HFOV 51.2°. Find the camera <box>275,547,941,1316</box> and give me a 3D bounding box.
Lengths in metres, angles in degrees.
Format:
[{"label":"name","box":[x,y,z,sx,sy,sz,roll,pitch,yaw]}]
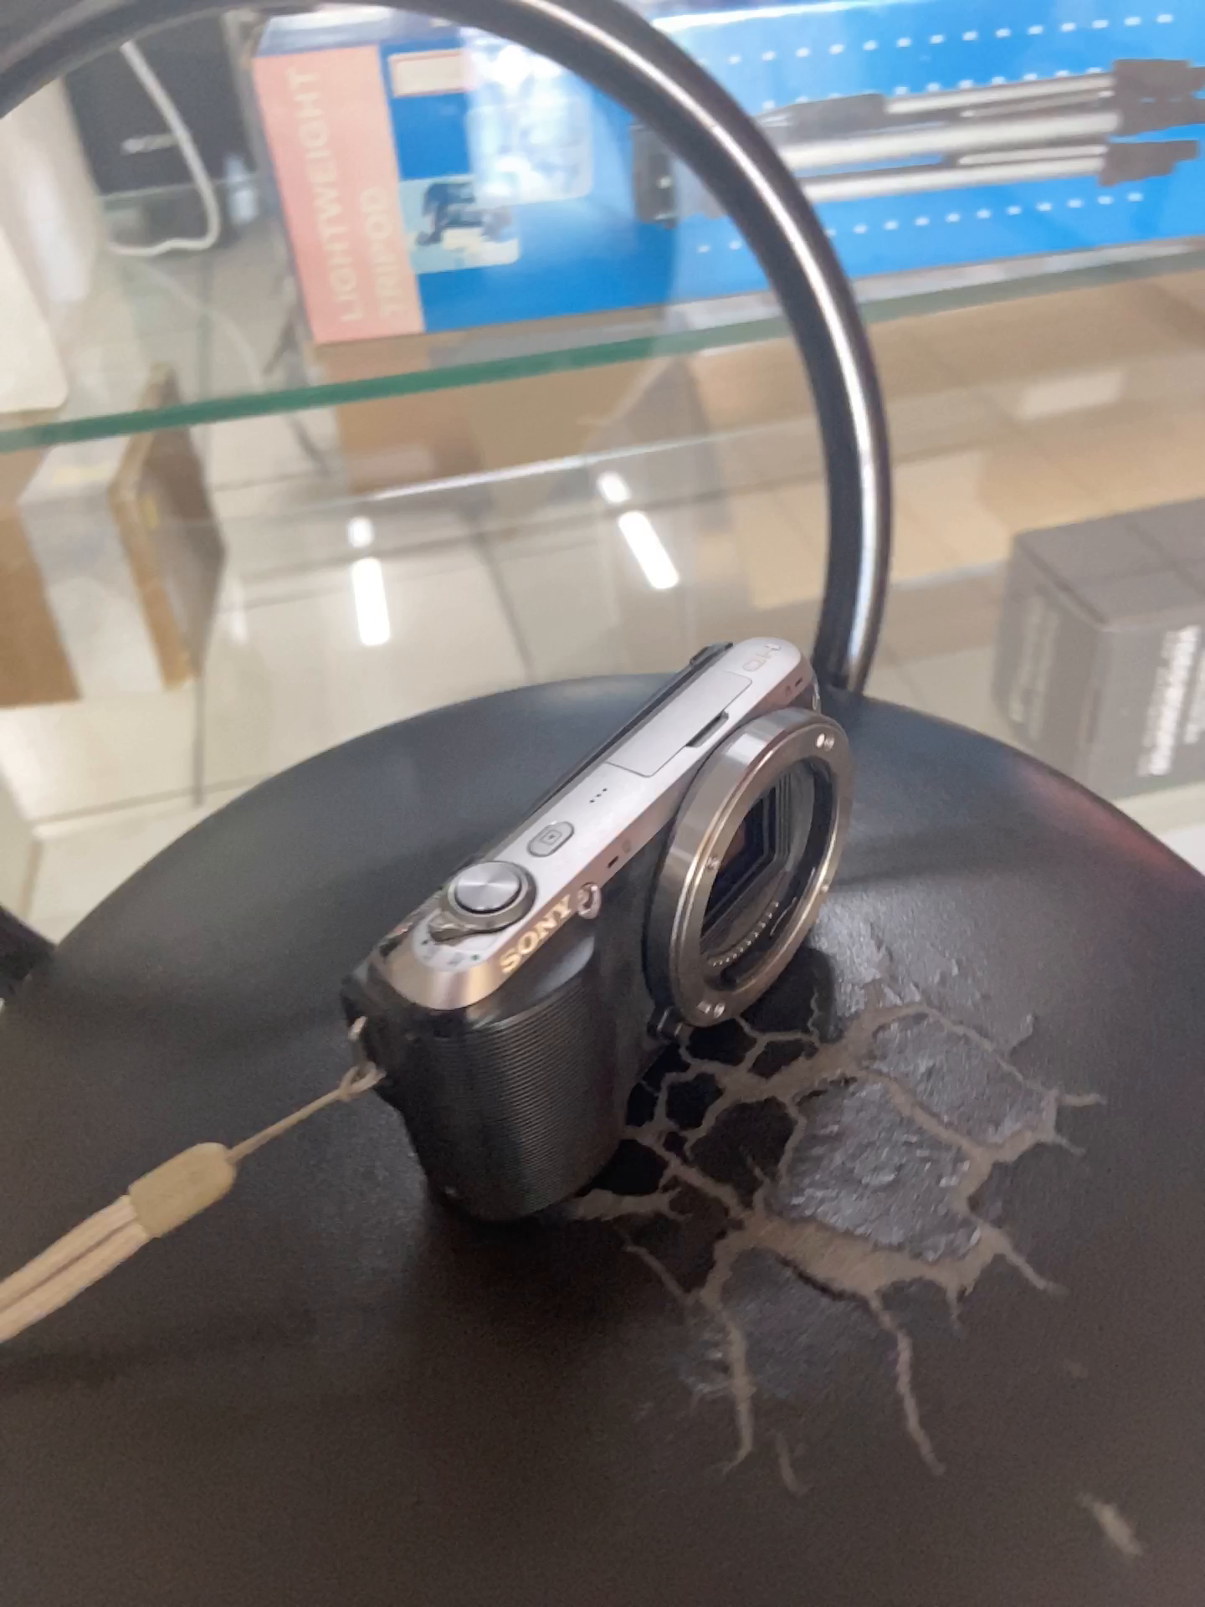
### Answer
[{"label":"camera","box":[0.010,0.014,0.214,0.040,0.060,0.121,22,47,31]}]
